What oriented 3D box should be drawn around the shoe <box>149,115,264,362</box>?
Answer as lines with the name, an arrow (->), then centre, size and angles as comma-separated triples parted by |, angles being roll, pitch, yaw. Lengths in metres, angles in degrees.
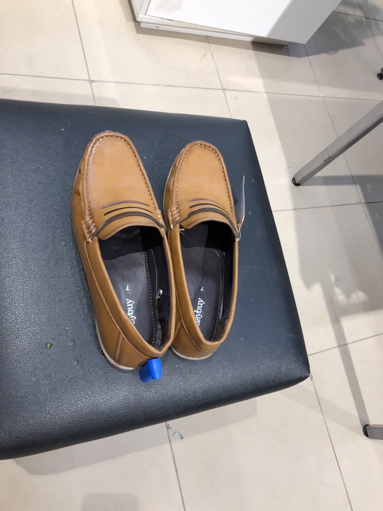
shoe -> 0.012, -0.018, 0.509 | 0.098, 0.088, 0.274 | 8, 68, -22

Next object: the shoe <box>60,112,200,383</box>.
shoe -> -0.077, -0.010, 0.469 | 0.099, 0.088, 0.273 | -3, 73, -26
